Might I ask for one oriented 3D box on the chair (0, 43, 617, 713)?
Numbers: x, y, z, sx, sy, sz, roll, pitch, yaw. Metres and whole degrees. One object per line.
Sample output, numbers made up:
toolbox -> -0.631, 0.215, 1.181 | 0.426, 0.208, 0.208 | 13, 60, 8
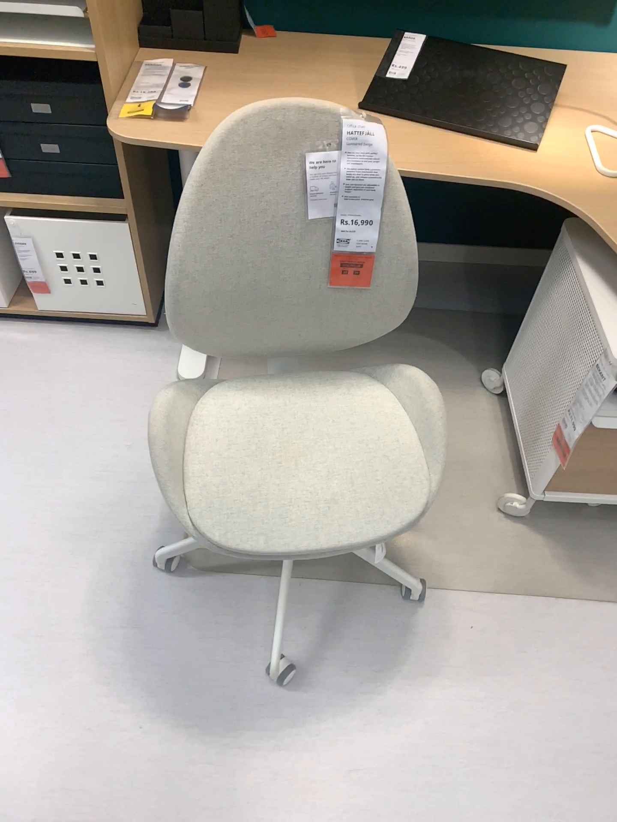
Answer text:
chair -> -0.045, 0.016, 1.116 | 0.630, 0.997, 0.642 | -5, 51, -7
